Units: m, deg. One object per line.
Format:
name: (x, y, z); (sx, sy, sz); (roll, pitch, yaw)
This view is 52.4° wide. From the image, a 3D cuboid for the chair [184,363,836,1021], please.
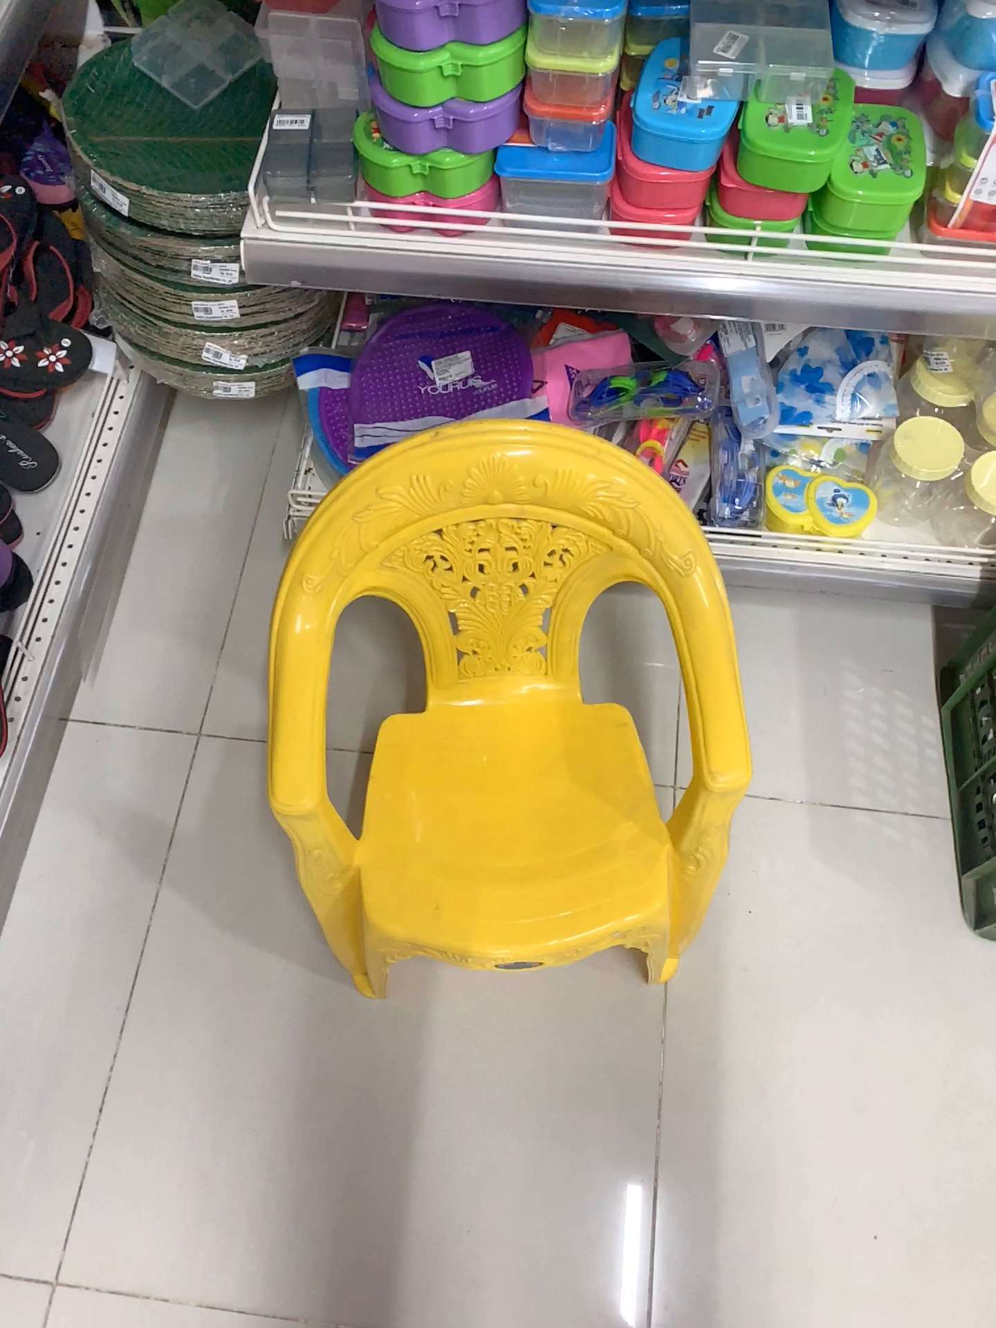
chair: (0.004, 0.062, 0.953); (0.420, 0.450, 0.460); (-3, 65, 0)
